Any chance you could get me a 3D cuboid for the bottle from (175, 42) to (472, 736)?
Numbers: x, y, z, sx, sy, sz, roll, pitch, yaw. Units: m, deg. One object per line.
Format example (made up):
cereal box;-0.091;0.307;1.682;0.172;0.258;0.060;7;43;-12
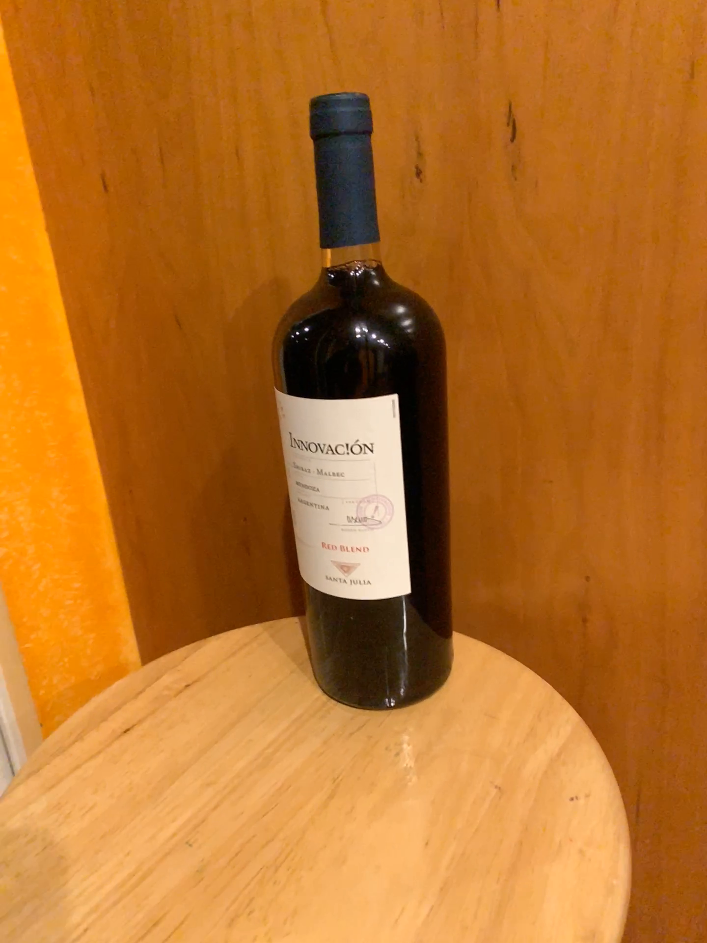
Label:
bottle;-0.003;-0.030;0.361;0.090;0.299;0.080;7;23;31
